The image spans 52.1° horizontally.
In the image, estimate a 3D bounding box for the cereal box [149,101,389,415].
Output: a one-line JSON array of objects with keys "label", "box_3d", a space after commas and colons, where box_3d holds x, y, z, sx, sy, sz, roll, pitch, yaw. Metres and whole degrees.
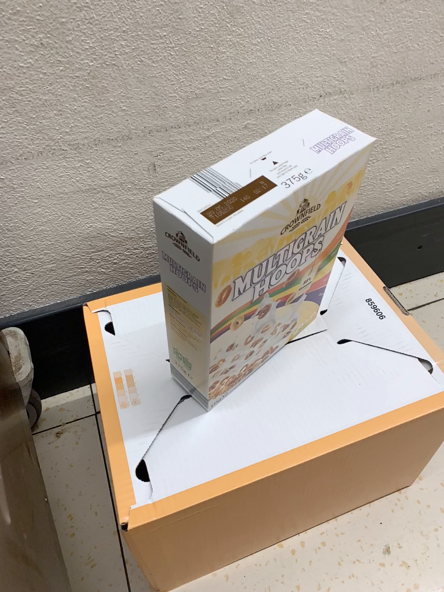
[{"label": "cereal box", "box_3d": [0.039, -0.026, 0.444, 0.201, 0.248, 0.070, -36, 61, -28]}]
